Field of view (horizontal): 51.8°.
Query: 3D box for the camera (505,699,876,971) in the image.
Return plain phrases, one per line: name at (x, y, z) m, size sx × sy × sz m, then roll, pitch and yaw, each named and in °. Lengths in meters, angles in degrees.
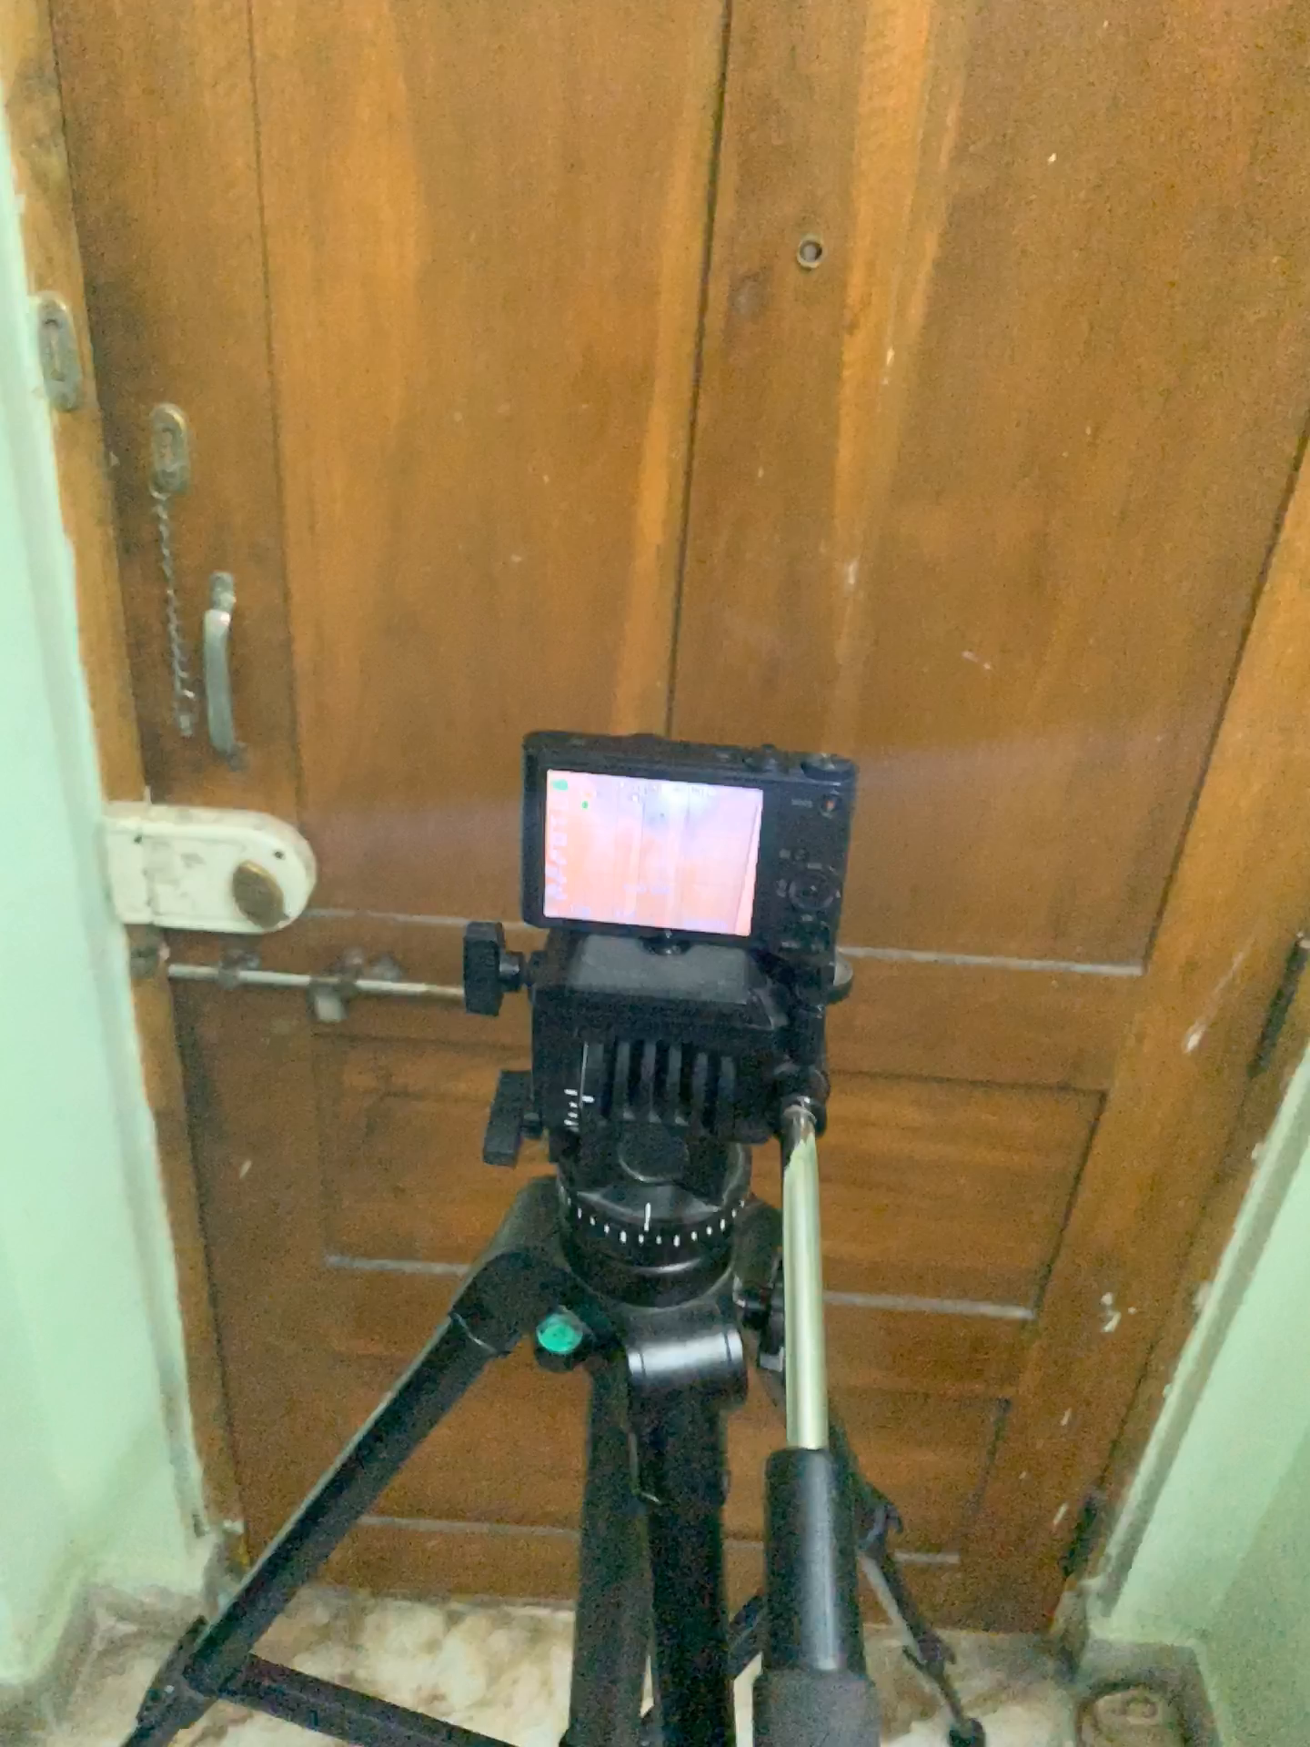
camera at (0.010, -0.012, 0.400) m, size 0.100 × 0.060 × 0.040 m, roll 6°, pitch 24°, yaw 2°
